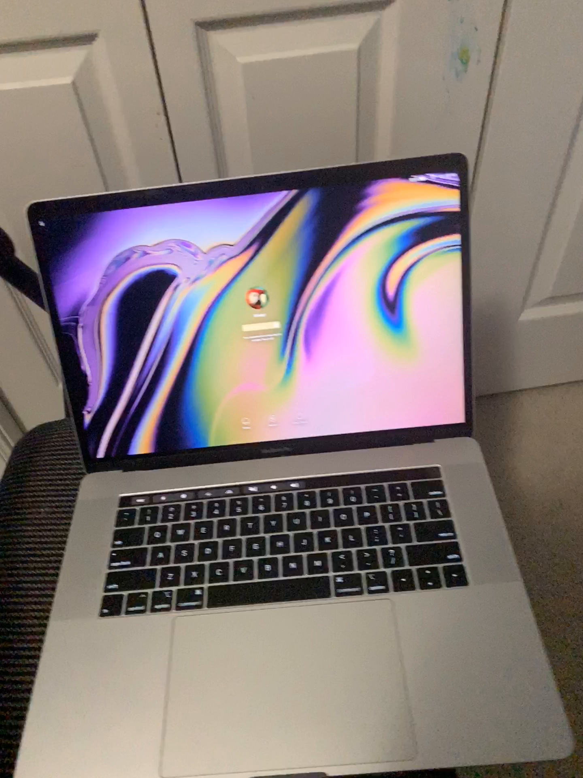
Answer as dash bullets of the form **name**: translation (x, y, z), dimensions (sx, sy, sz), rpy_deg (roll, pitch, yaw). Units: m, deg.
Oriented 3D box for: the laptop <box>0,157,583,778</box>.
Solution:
- **laptop**: translation (-0.023, 0.037, 0.403), dimensions (0.342, 0.195, 0.353), rpy_deg (-5, 47, 2)
